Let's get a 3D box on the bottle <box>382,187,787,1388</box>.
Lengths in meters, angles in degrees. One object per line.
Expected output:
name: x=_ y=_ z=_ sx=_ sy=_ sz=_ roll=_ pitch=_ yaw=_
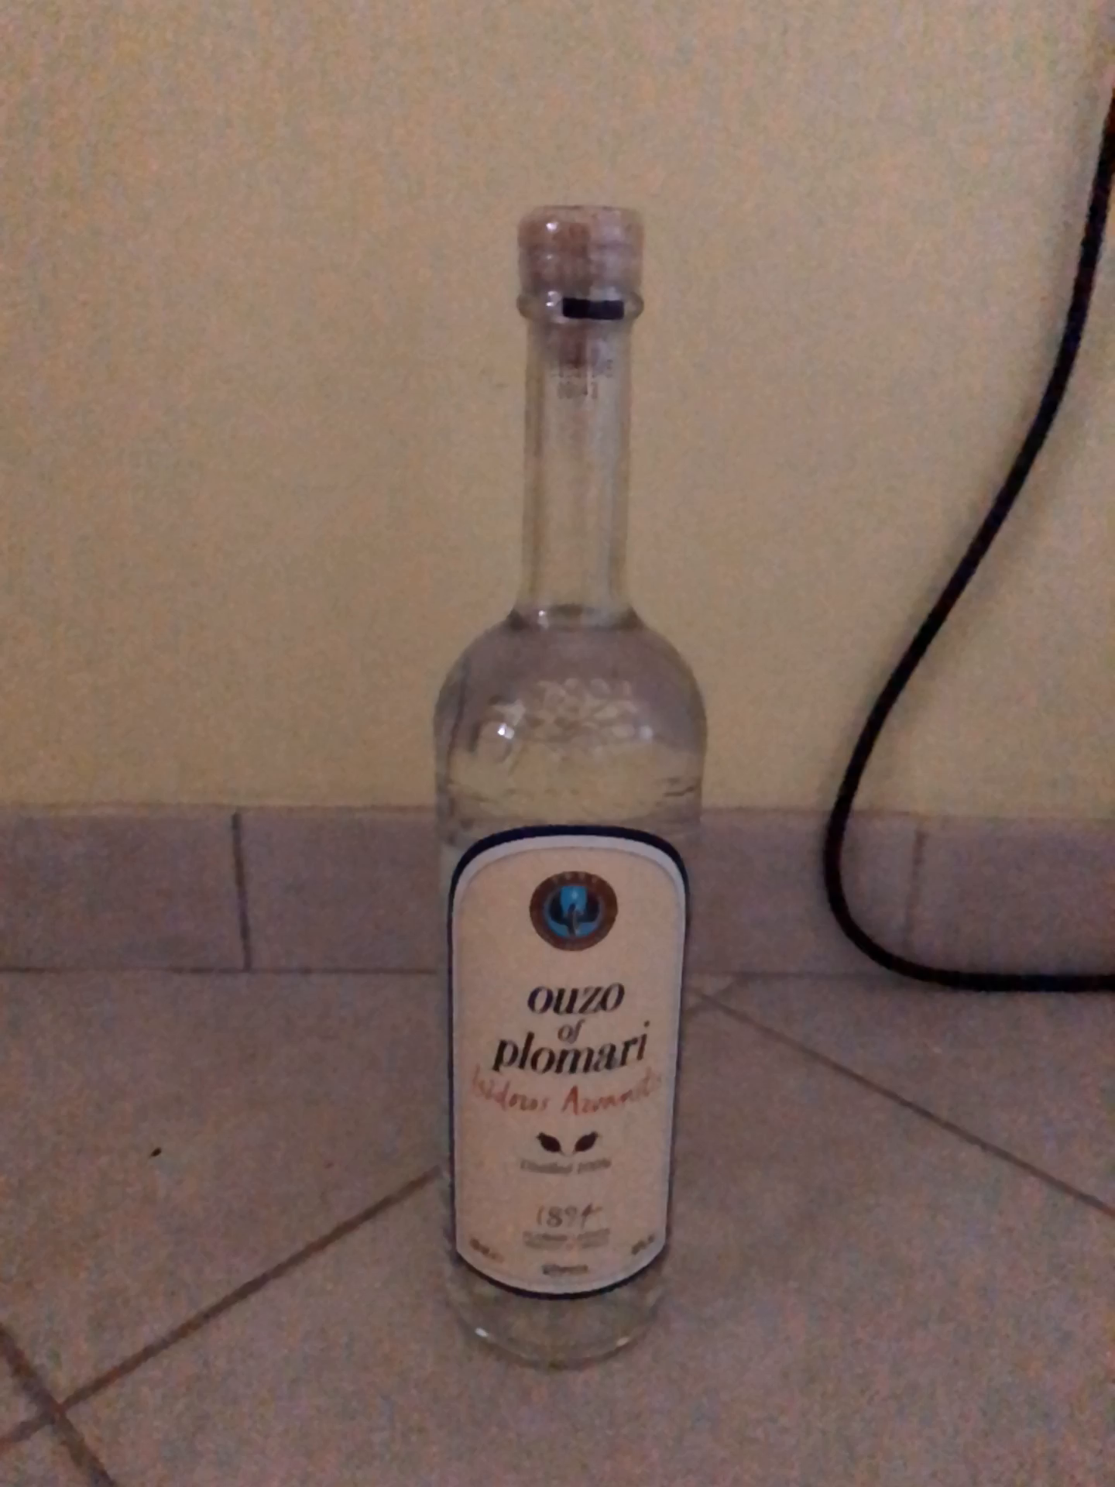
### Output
bottle: x=0.000 y=0.024 z=0.338 sx=0.080 sy=0.318 sz=0.080 roll=1 pitch=22 yaw=0
